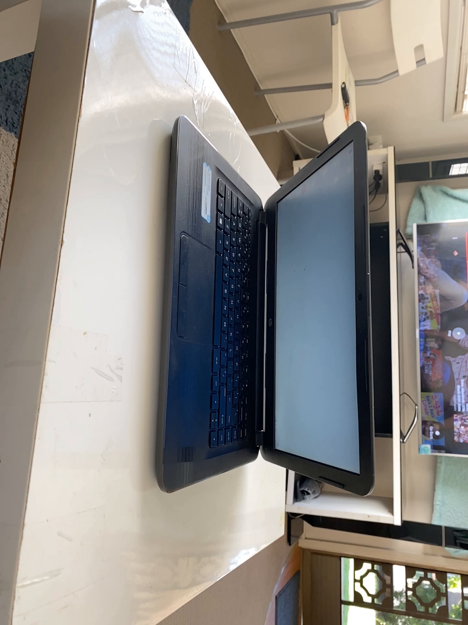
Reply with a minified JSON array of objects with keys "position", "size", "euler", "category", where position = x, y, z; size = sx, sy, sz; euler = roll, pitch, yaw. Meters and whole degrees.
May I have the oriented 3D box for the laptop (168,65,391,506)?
[{"position":[0.063,-0.016,0.490],"size":[0.226,0.154,0.335],"euler":[21,68,-66],"category":"laptop"}]
